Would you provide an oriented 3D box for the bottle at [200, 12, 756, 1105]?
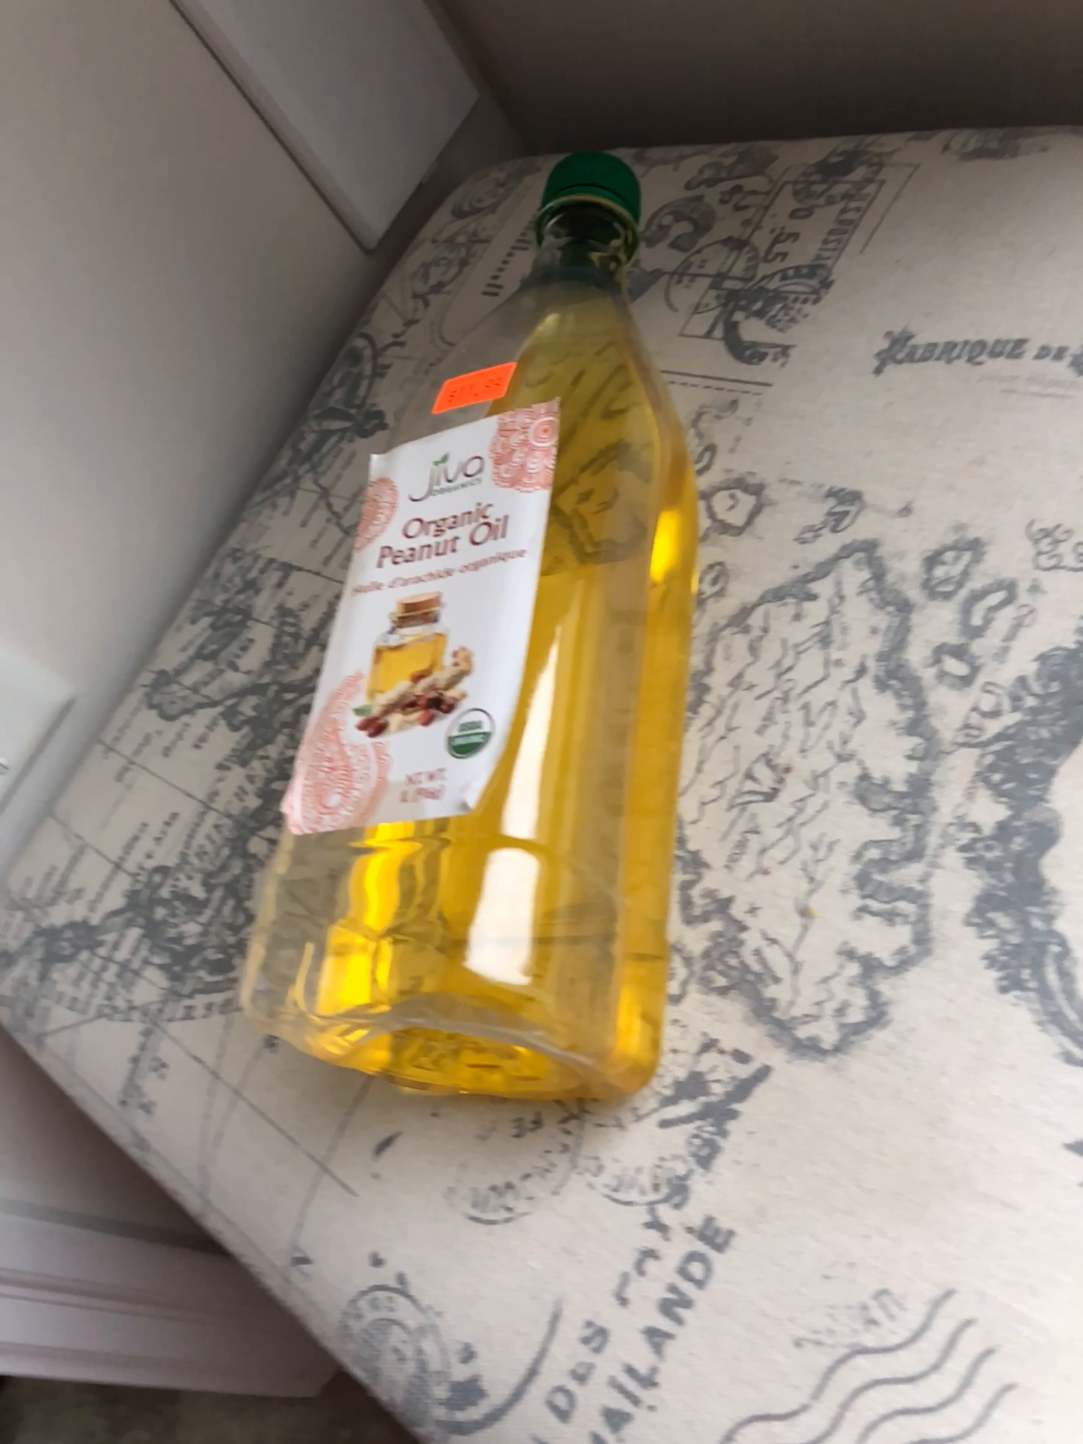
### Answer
[{"bbox_3d":[-0.001,-0.049,0.310,0.080,0.070,0.270,-8,60,29],"label":"bottle"}]
